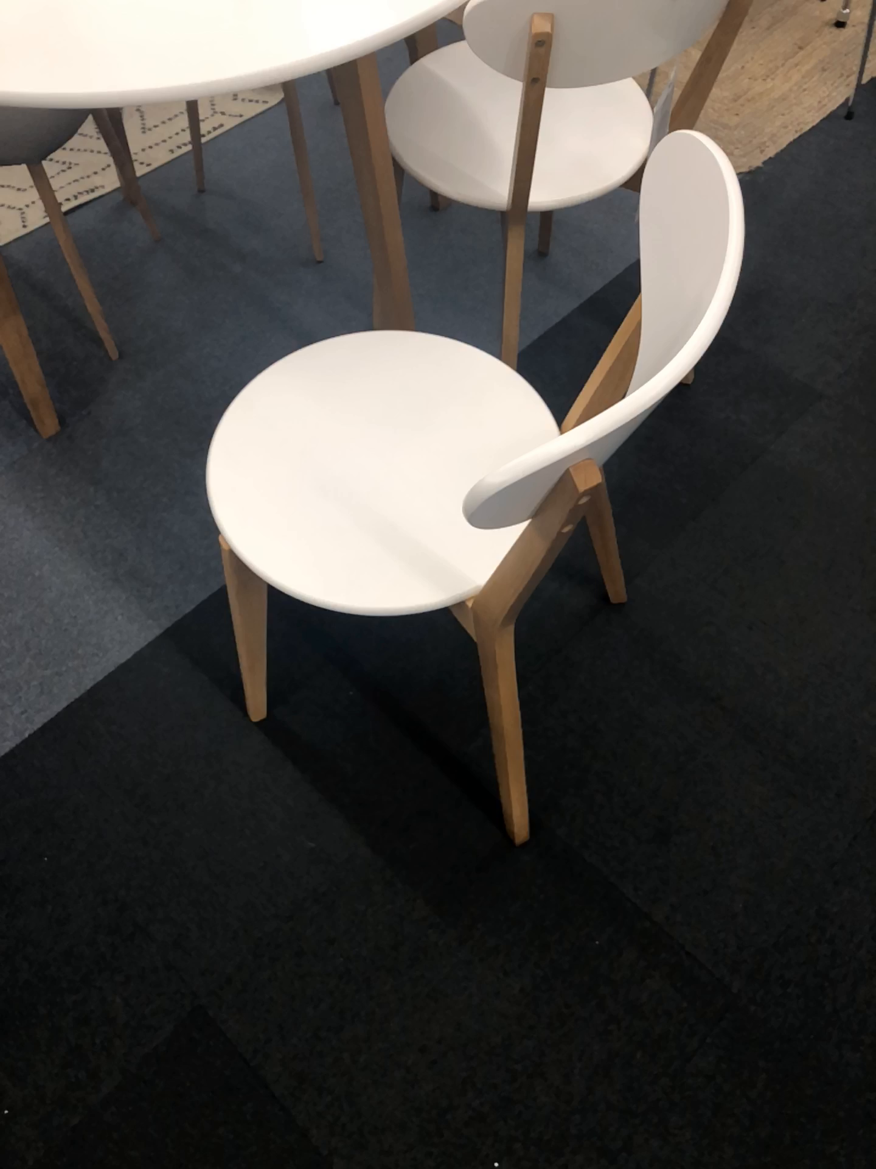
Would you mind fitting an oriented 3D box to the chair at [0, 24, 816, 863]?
[{"bbox_3d":[-0.021,-0.123,1.038,0.560,0.599,0.481,21,60,14],"label":"chair"}]
